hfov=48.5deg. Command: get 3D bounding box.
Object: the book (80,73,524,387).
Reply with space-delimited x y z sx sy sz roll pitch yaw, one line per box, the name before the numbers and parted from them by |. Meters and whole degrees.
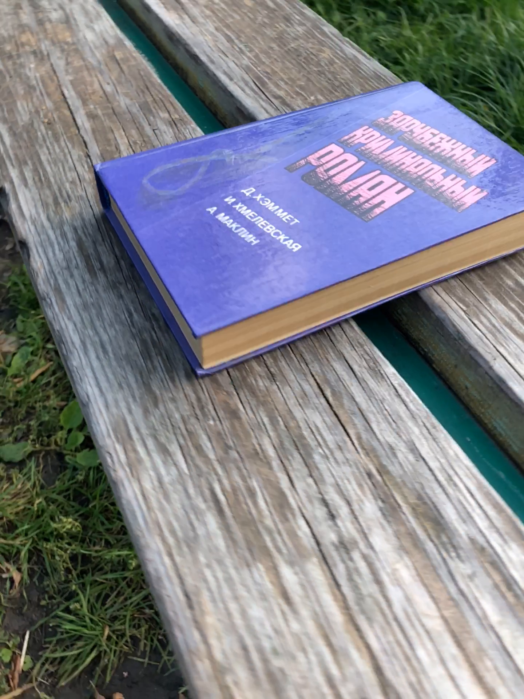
book | 0.031 -0.076 0.294 0.205 0.030 0.131 -22 54 -18
